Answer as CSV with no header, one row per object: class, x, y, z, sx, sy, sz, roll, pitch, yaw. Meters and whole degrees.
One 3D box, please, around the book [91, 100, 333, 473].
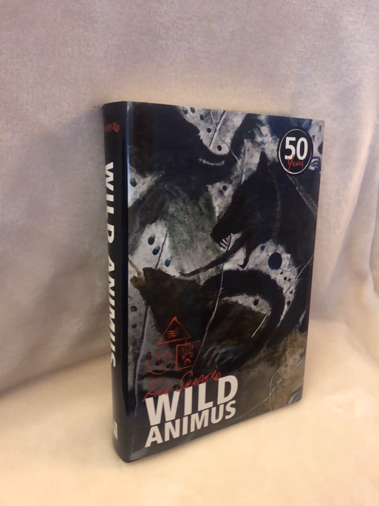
book,0.021,0.015,0.298,0.164,0.216,0.043,-7,12,-31
